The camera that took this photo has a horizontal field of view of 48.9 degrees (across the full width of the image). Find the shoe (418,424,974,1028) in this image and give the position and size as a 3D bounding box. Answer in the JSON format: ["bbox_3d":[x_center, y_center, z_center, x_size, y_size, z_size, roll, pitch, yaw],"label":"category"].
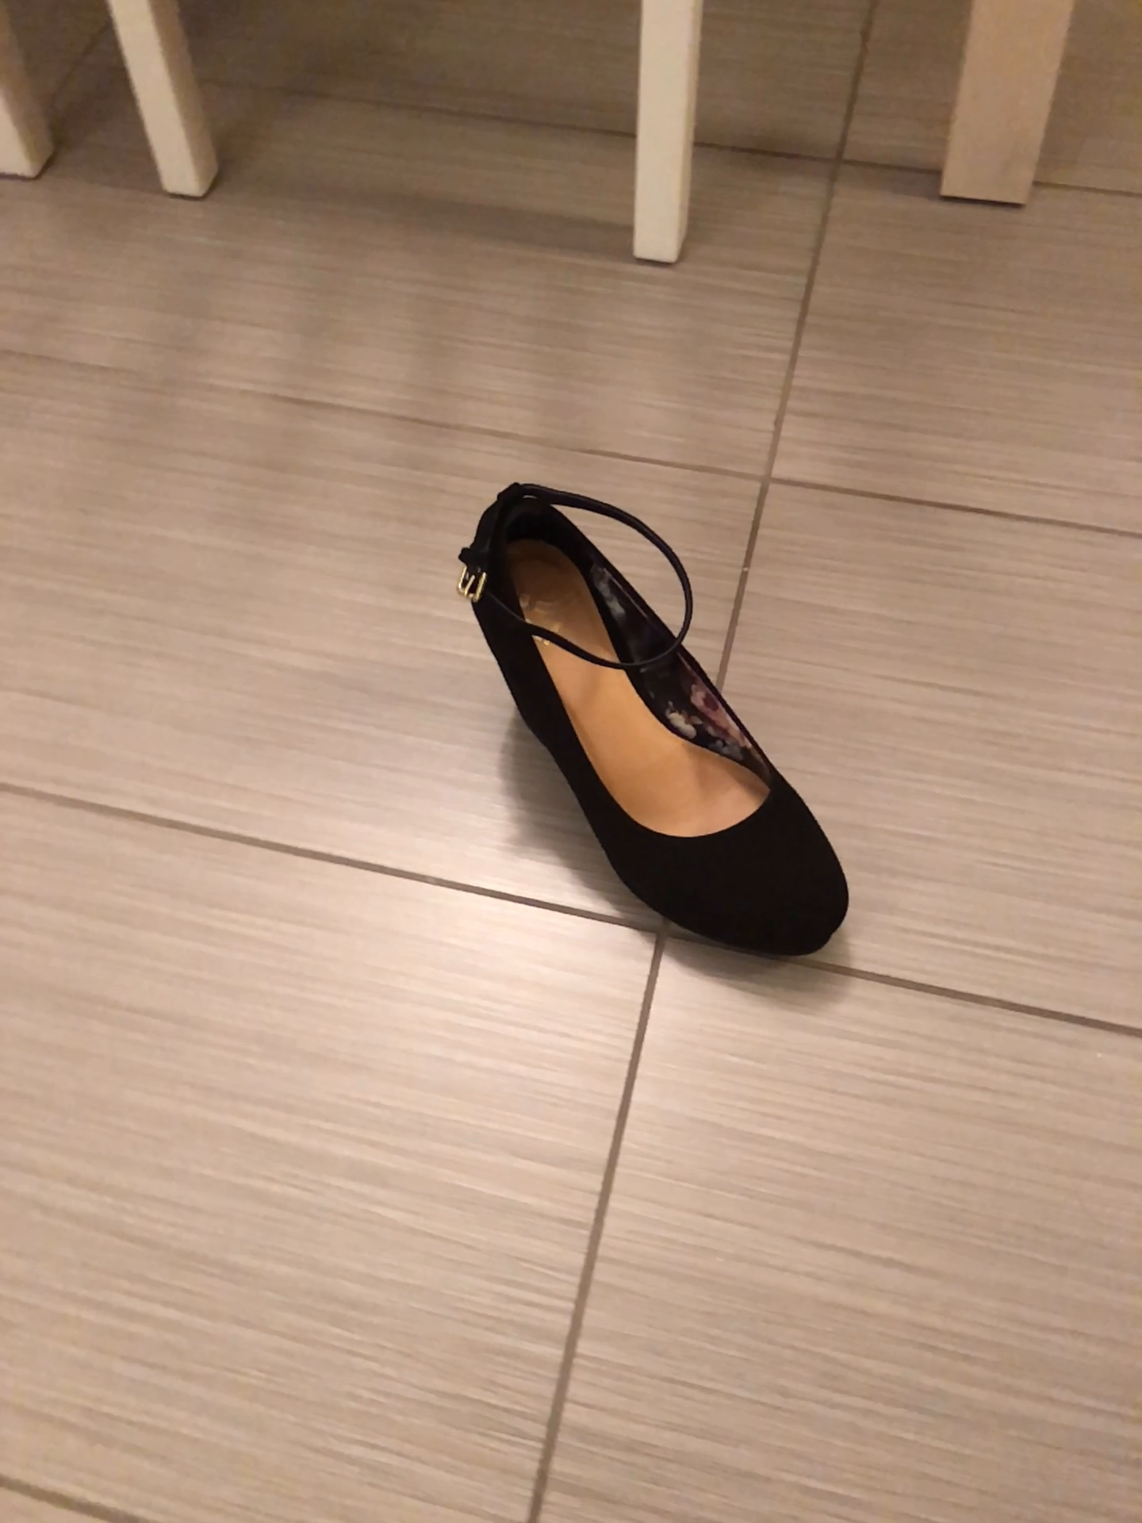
[{"bbox_3d":[0.048,-0.017,0.592,0.100,0.140,0.240,-36,65,-16],"label":"shoe"}]
